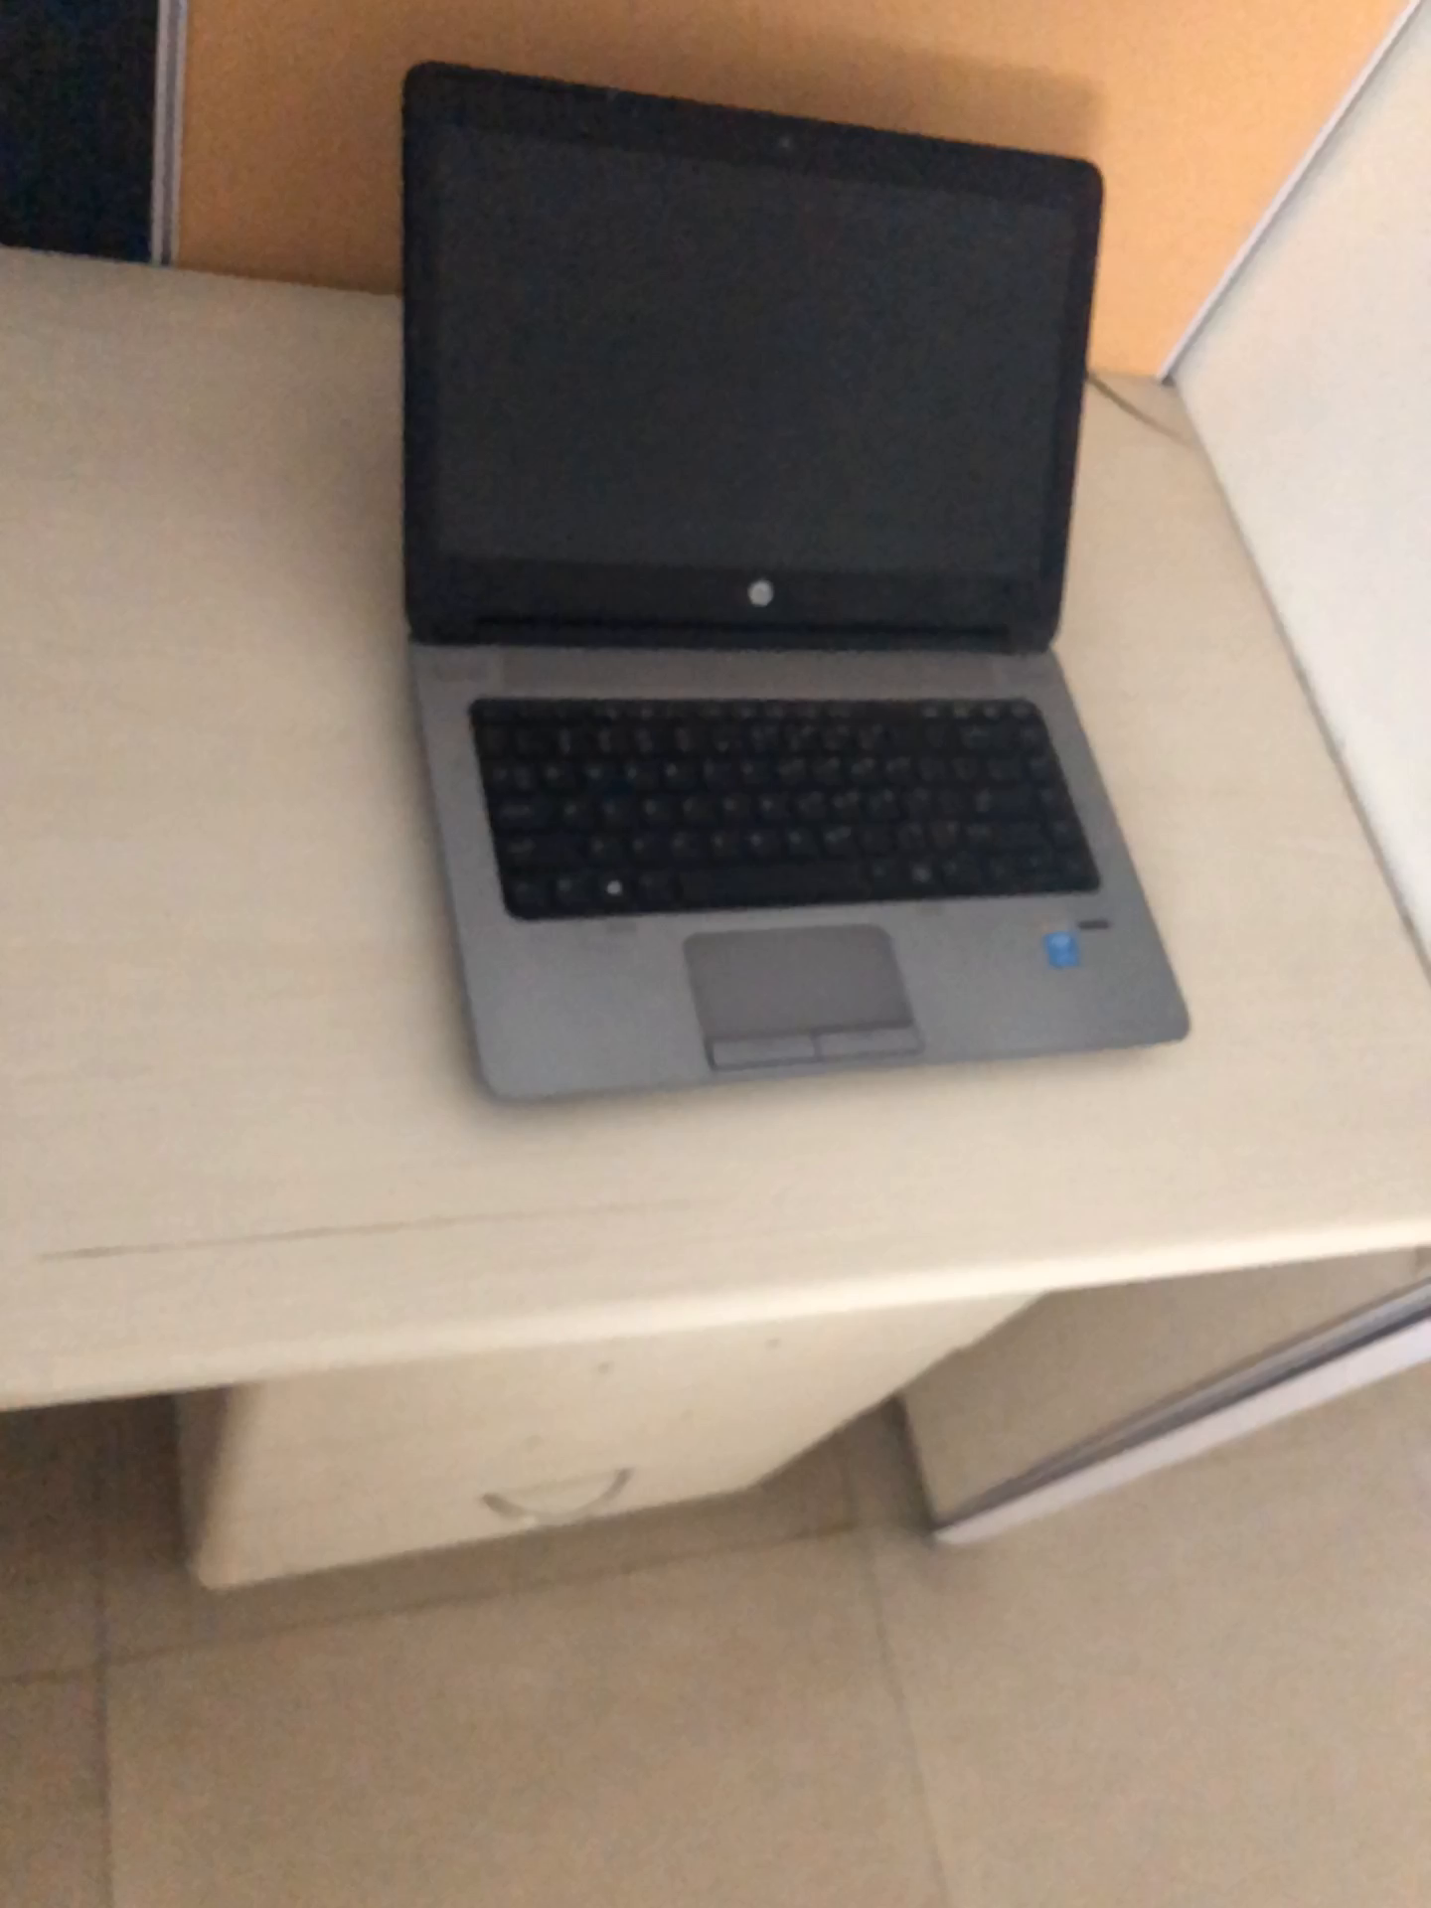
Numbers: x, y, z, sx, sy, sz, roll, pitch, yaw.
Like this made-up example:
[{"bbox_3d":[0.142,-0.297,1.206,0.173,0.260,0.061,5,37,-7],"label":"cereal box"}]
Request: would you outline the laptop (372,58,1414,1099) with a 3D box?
[{"bbox_3d":[0.051,-0.160,0.694,0.324,0.167,0.372,-4,65,-22],"label":"laptop"}]
